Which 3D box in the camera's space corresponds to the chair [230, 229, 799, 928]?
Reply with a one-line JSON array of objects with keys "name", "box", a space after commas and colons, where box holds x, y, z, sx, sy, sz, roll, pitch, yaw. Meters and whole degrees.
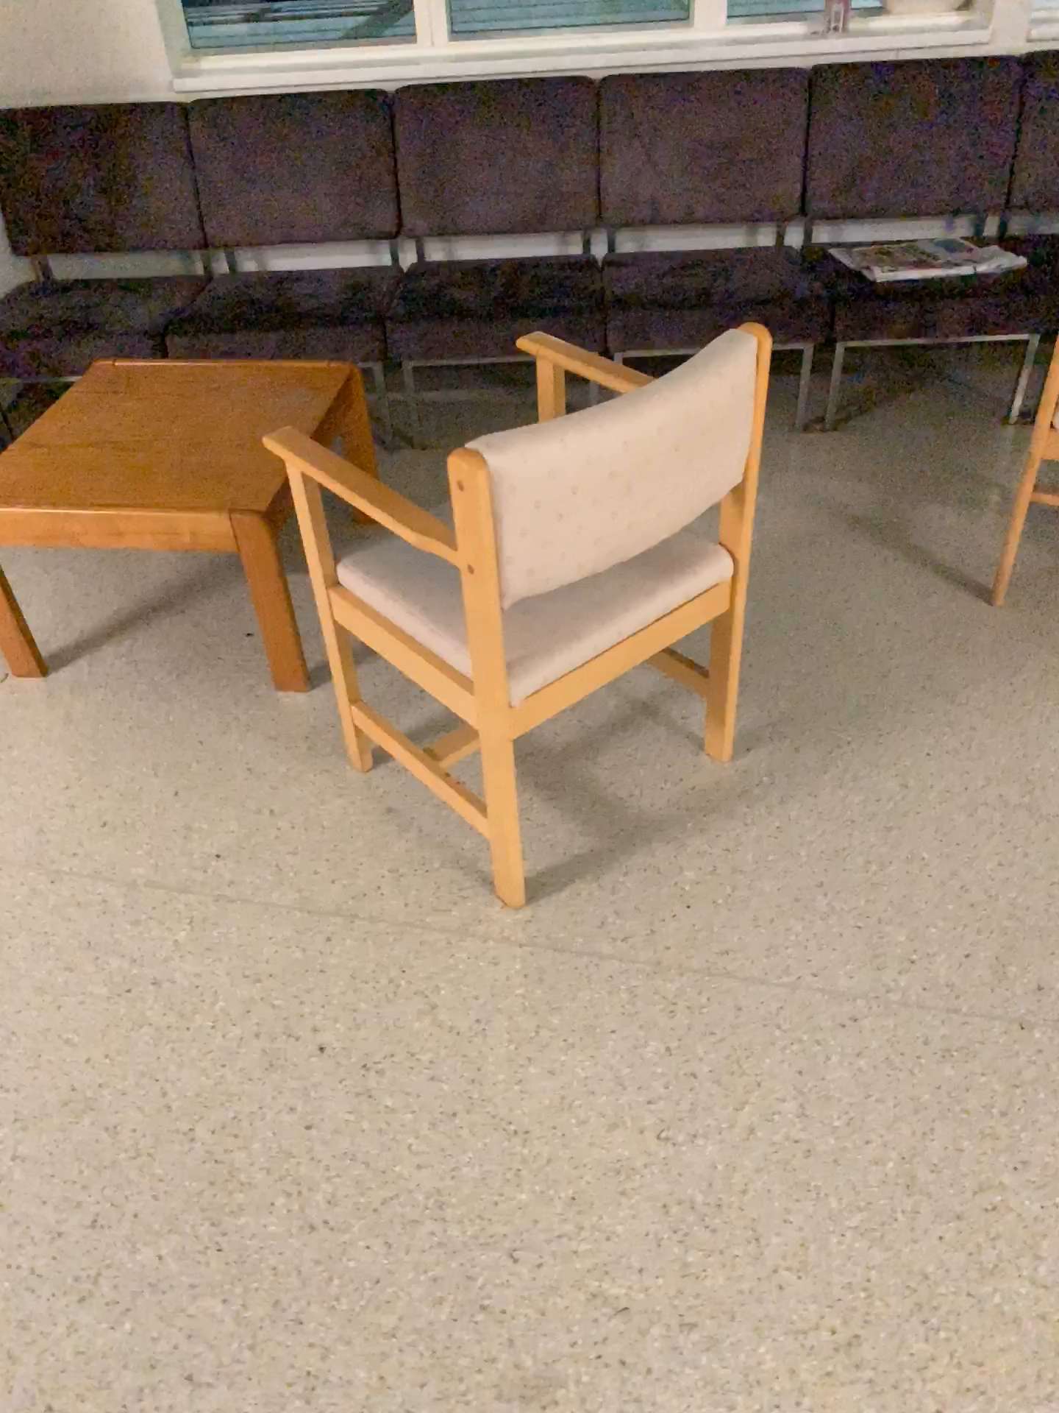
[{"name": "chair", "box": [-0.007, -0.203, 1.595, 0.512, 0.753, 0.513, -31, 46, -29]}]
